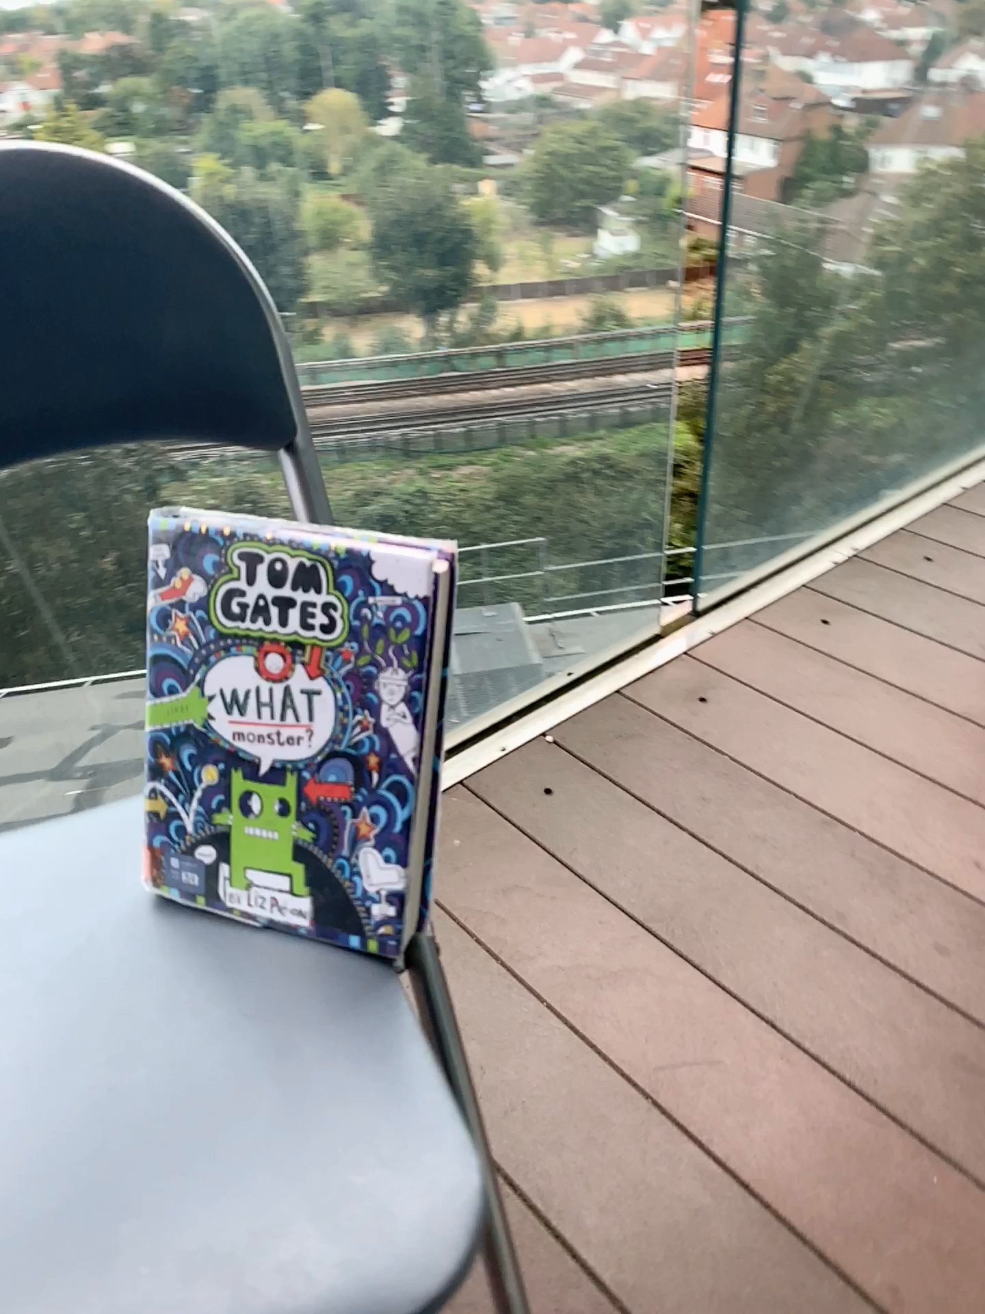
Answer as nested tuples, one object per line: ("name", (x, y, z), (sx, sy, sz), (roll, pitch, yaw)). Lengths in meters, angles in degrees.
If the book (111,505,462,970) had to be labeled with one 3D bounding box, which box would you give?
("book", (-0.105, 0.034, 0.499), (0.160, 0.199, 0.050), (9, 14, 18))
